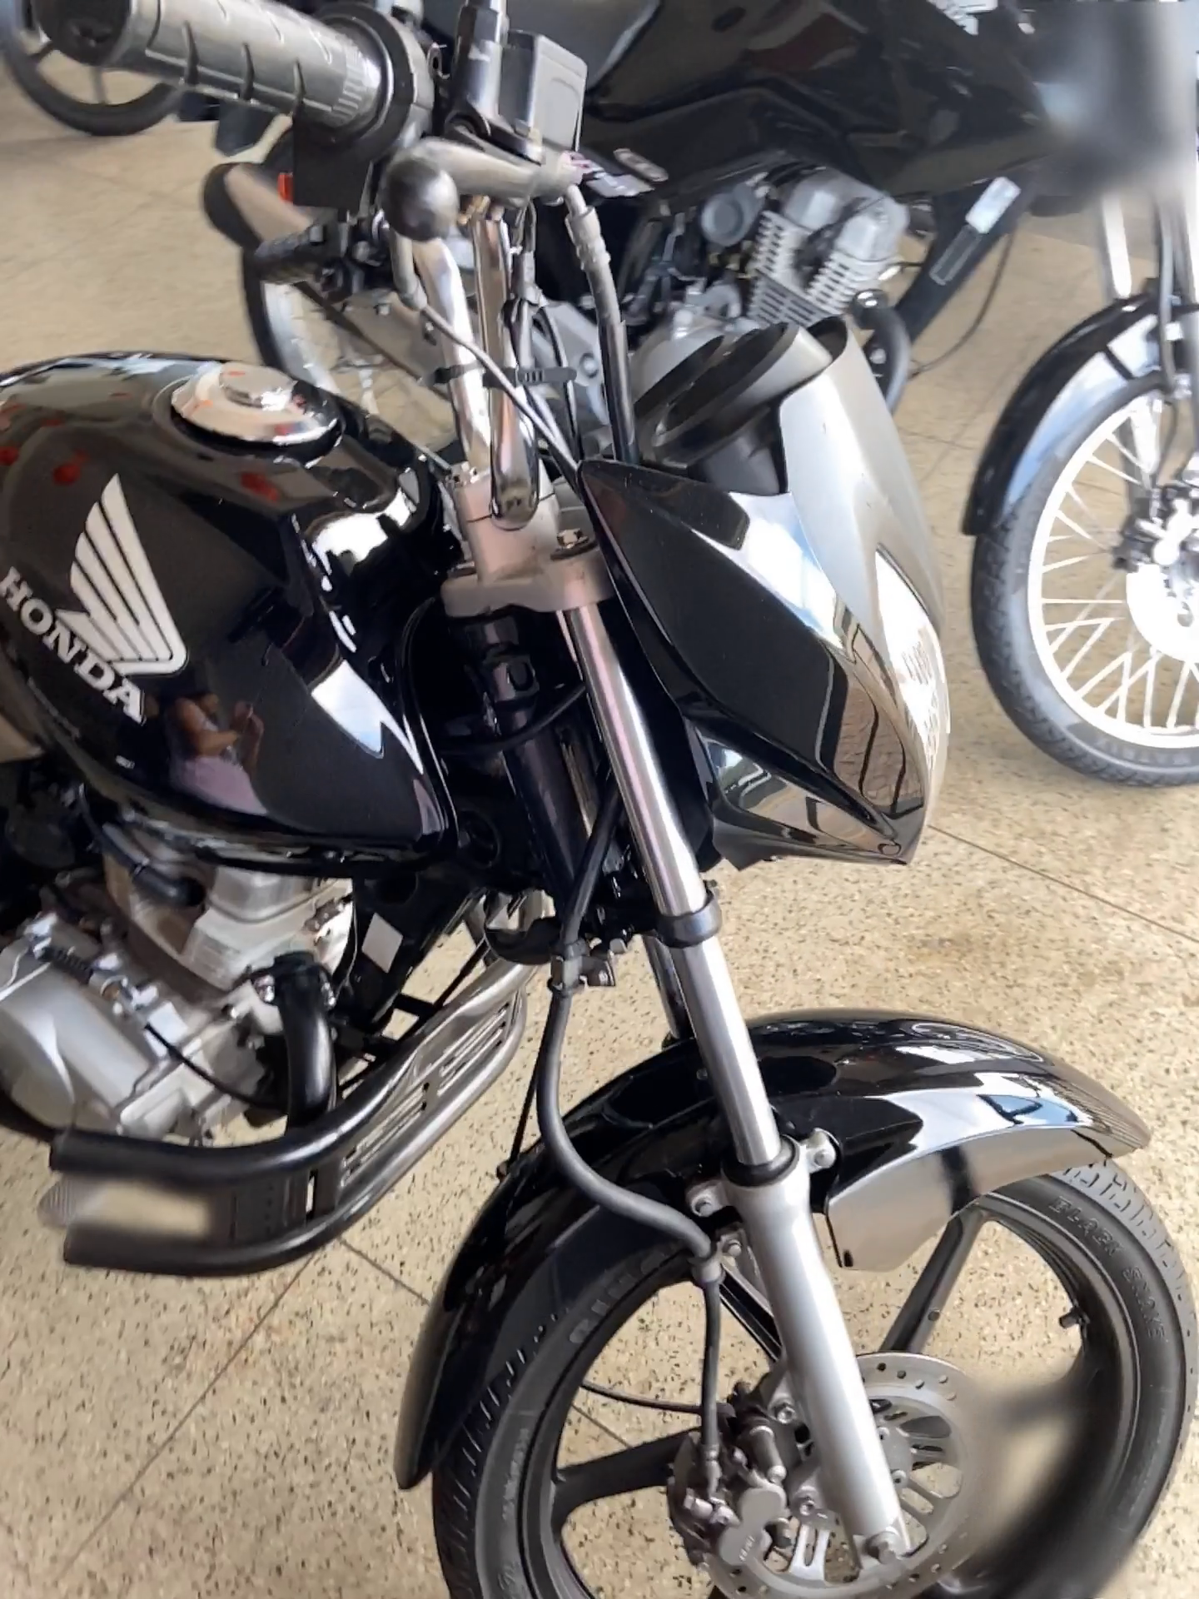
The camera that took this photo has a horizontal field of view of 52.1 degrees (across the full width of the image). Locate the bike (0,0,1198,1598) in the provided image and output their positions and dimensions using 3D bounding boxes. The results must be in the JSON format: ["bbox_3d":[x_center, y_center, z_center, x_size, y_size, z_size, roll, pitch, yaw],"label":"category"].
[{"bbox_3d":[-0.293,-0.112,1.062,1.737,1.138,0.777,21,53,17],"label":"bike"}]
